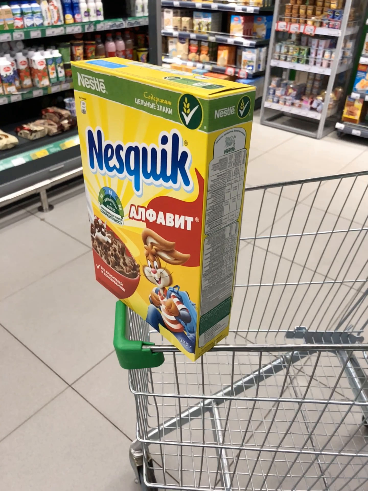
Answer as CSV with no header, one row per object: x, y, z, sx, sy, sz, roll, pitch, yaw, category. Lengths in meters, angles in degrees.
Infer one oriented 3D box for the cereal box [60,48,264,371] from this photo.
-0.035,-0.038,0.436,0.201,0.288,0.060,30,42,35,cereal box
